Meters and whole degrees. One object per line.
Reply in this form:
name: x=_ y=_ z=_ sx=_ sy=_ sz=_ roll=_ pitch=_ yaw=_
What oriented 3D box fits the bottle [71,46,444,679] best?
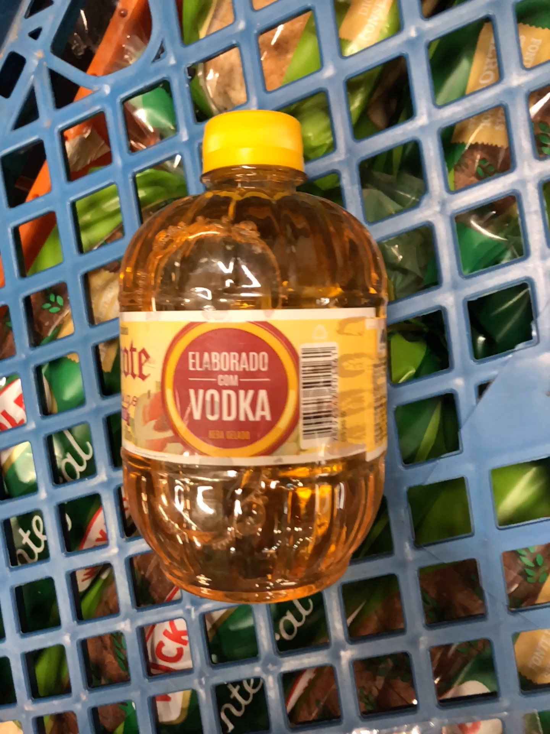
bottle: x=-0.007 y=-0.003 z=0.179 sx=0.080 sy=0.070 sz=0.130 roll=7 pitch=99 yaw=51
